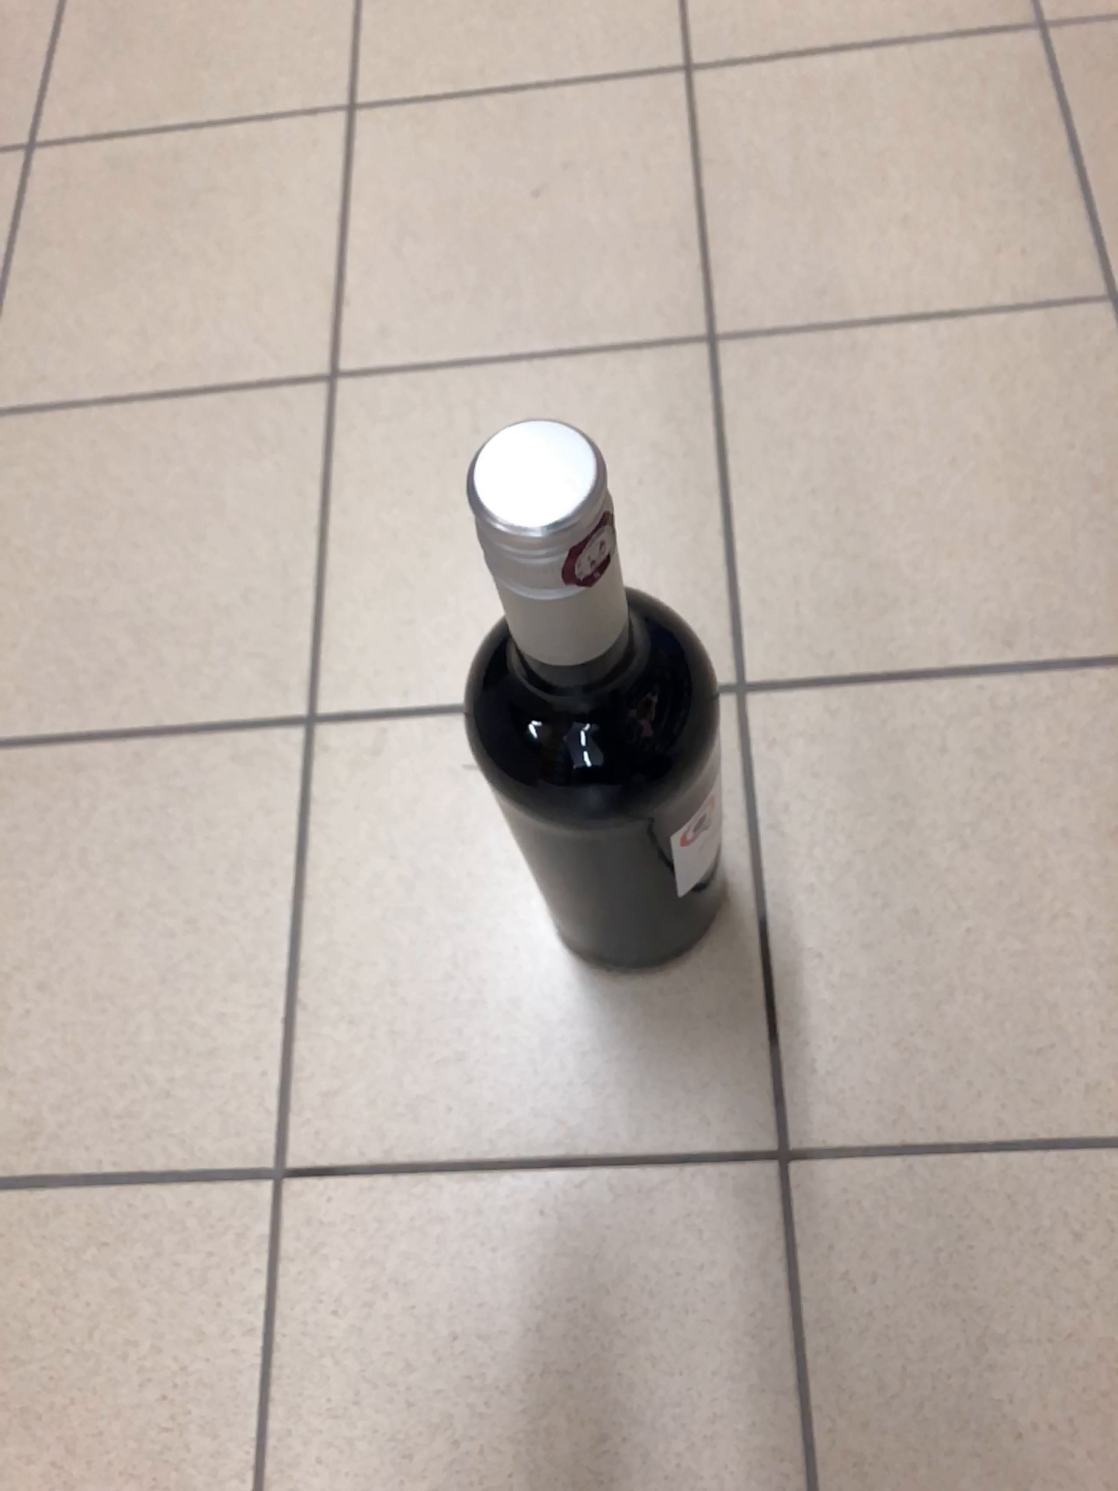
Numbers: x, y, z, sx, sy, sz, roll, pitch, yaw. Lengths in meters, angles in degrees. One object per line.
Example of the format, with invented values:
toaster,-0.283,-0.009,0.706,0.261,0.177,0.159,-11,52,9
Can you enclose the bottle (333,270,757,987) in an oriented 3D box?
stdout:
bottle,0.013,-0.002,0.394,0.080,0.299,0.080,-3,66,7
